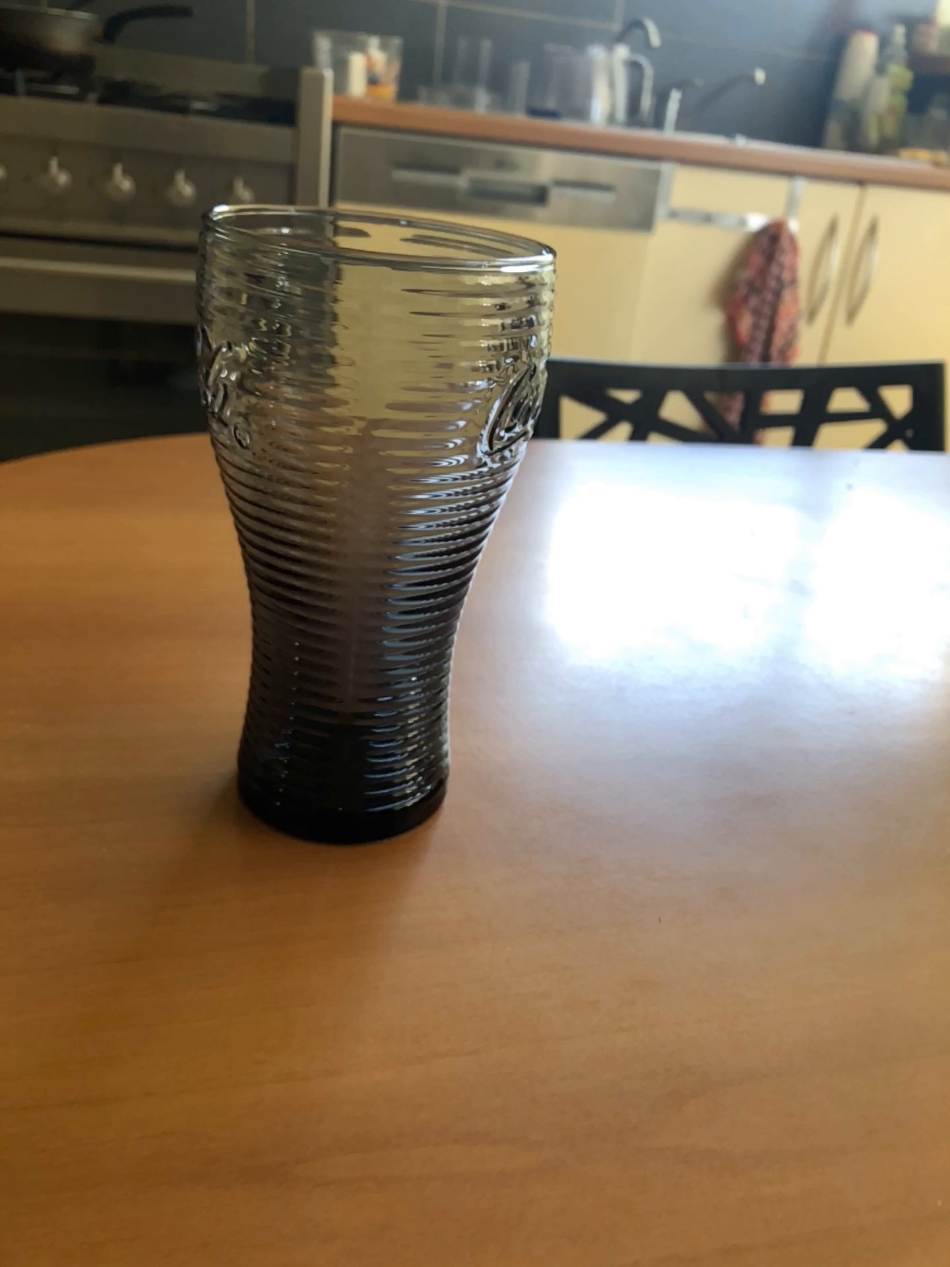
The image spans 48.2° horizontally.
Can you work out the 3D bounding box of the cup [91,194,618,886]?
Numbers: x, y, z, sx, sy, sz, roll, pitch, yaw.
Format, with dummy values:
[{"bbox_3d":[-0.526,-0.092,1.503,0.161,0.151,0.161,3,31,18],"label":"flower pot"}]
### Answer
[{"bbox_3d":[-0.028,-0.028,0.251,0.080,0.129,0.081,6,26,-3],"label":"cup"}]
